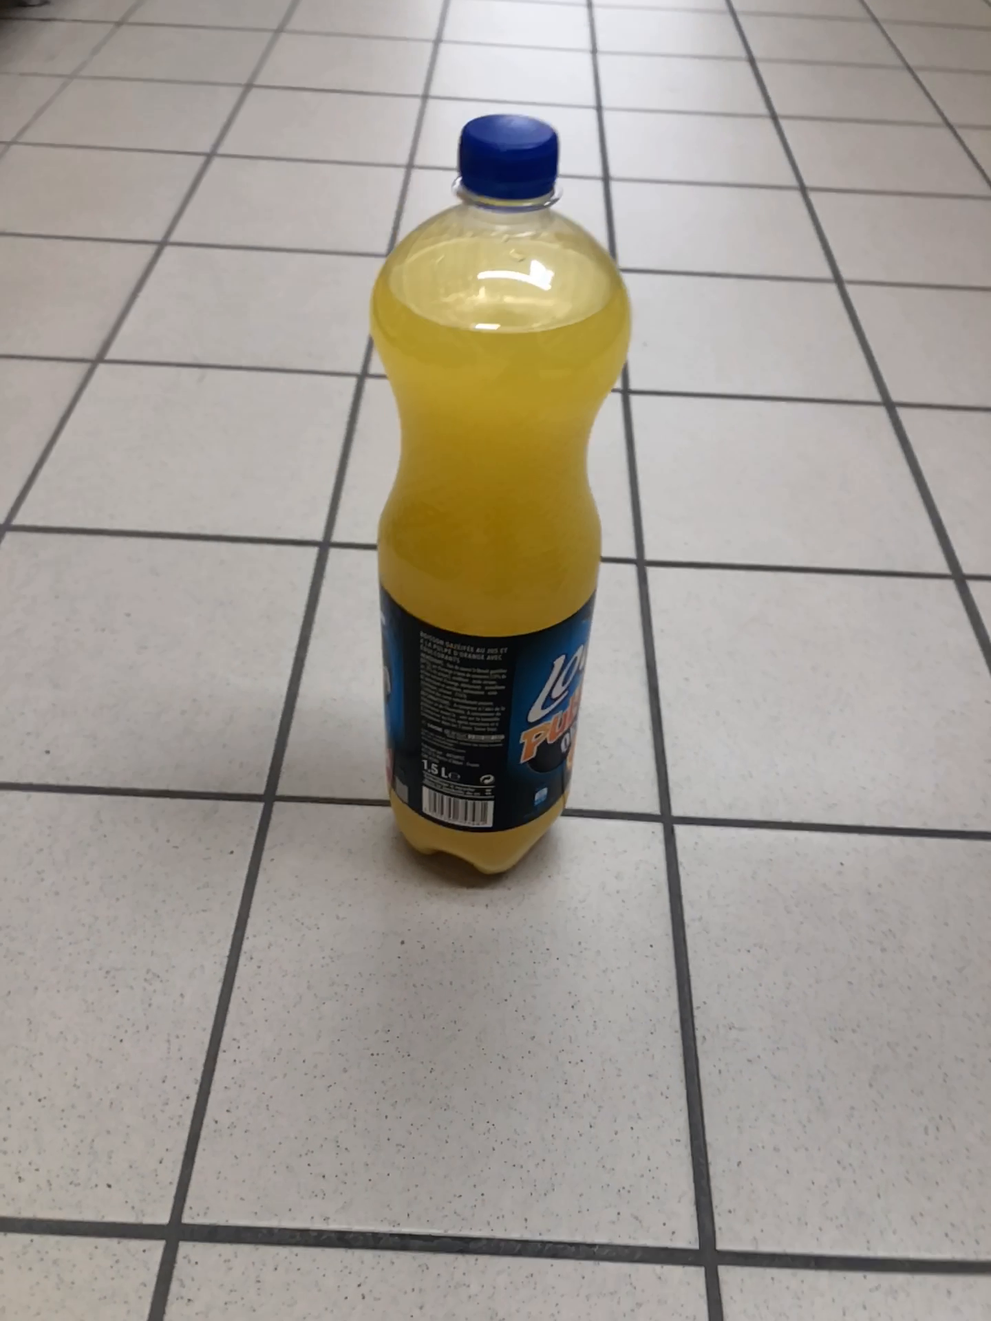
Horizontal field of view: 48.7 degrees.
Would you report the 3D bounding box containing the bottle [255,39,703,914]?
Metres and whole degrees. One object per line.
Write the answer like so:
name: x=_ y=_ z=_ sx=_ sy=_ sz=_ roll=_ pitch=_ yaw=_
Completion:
bottle: x=-0.007 y=-0.046 z=0.427 sx=0.100 sy=0.318 sz=0.101 roll=2 pitch=44 yaw=-2
